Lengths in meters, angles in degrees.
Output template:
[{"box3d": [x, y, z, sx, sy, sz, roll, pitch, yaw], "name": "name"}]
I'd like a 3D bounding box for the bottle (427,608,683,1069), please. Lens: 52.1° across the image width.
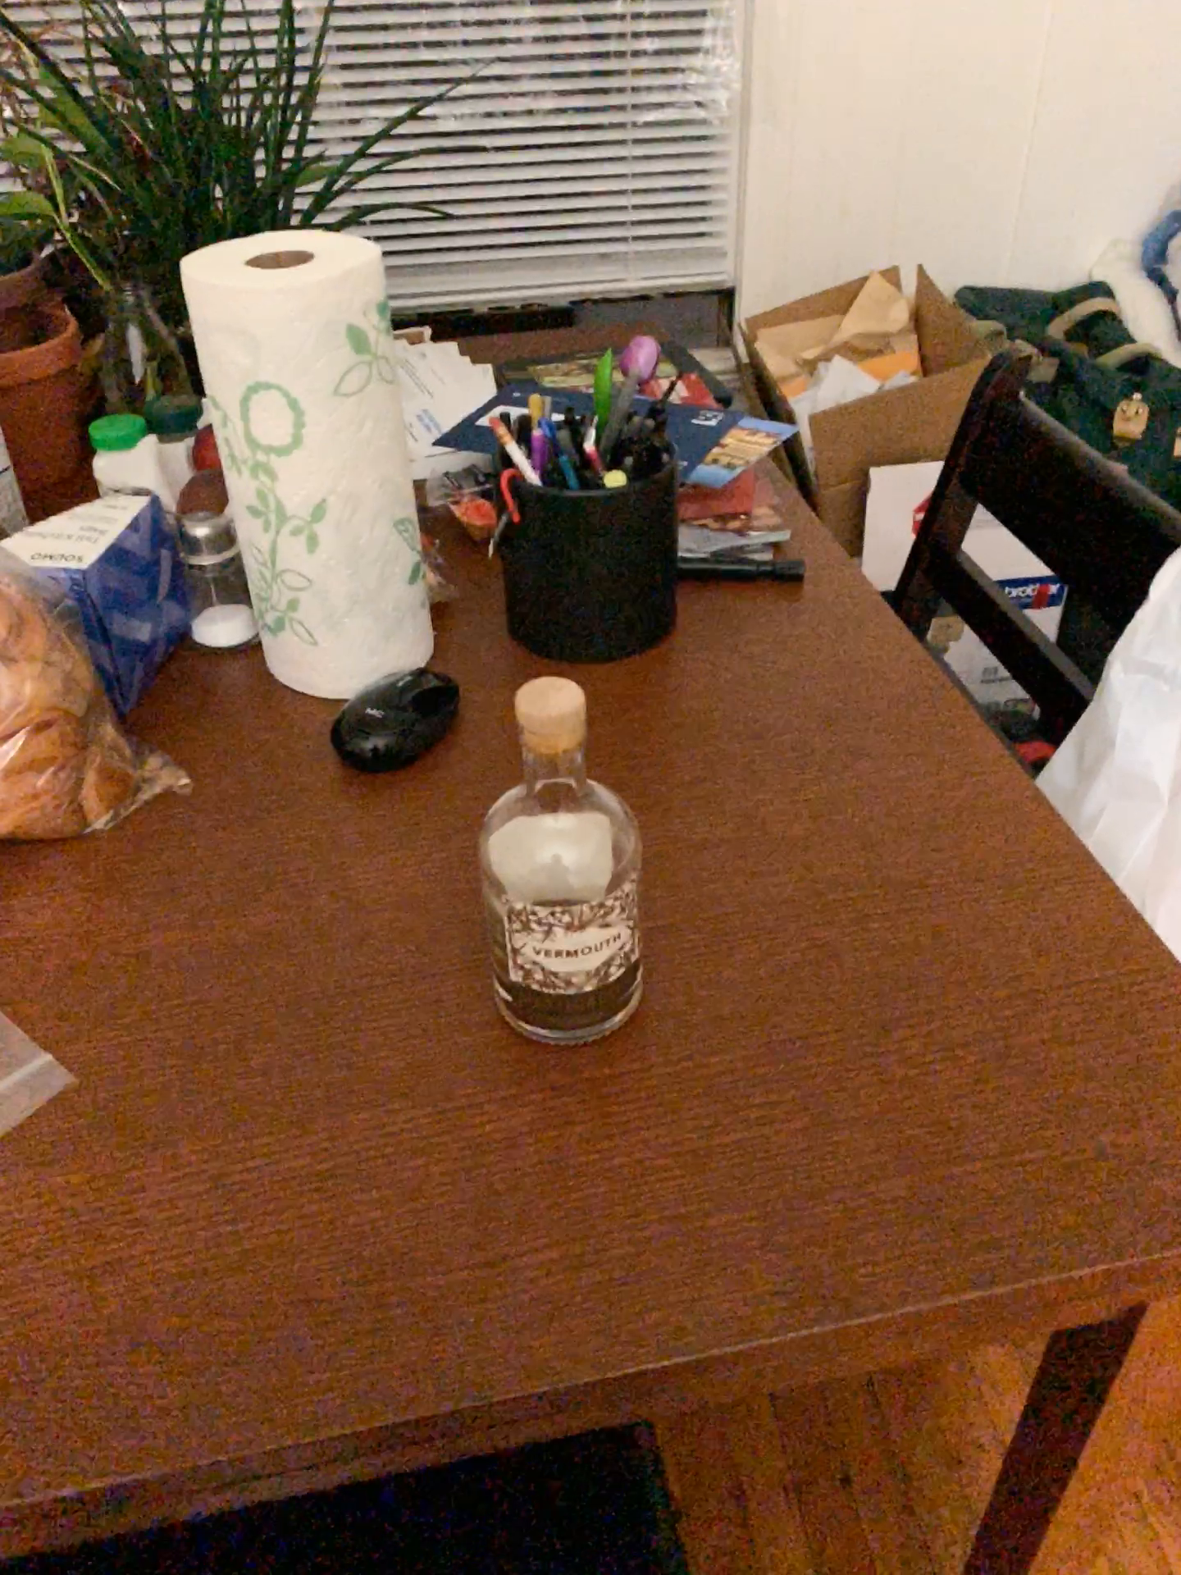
[{"box3d": [-0.014, 0.027, 0.551, 0.090, 0.189, 0.081, -10, 38, -10], "name": "bottle"}]
